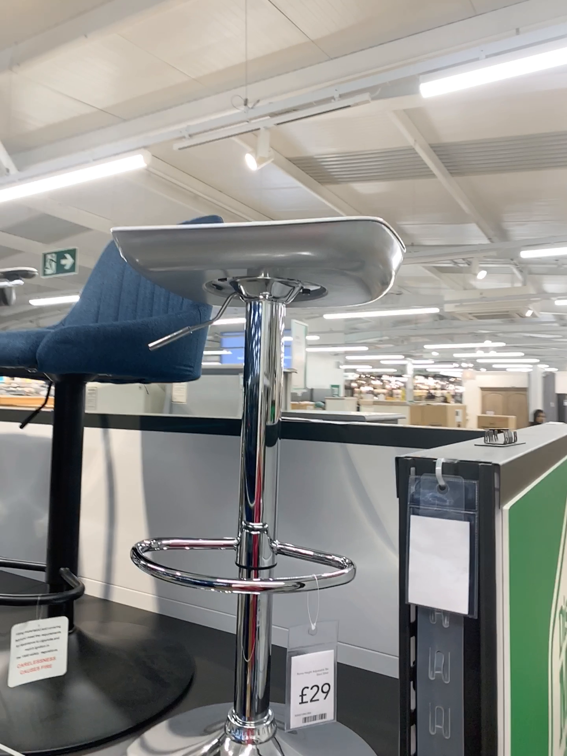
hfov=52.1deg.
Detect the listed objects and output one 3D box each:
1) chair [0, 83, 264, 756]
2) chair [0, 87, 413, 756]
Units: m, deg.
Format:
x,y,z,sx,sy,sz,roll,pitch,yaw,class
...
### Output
x,y,z,sx,sy,sz,roll,pitch,yaw,class
-0.393,0.071,1.049,0.532,0.884,0.482,0,-3,25,chair
-0.058,0.122,0.805,0.402,0.804,0.402,0,-3,21,chair
